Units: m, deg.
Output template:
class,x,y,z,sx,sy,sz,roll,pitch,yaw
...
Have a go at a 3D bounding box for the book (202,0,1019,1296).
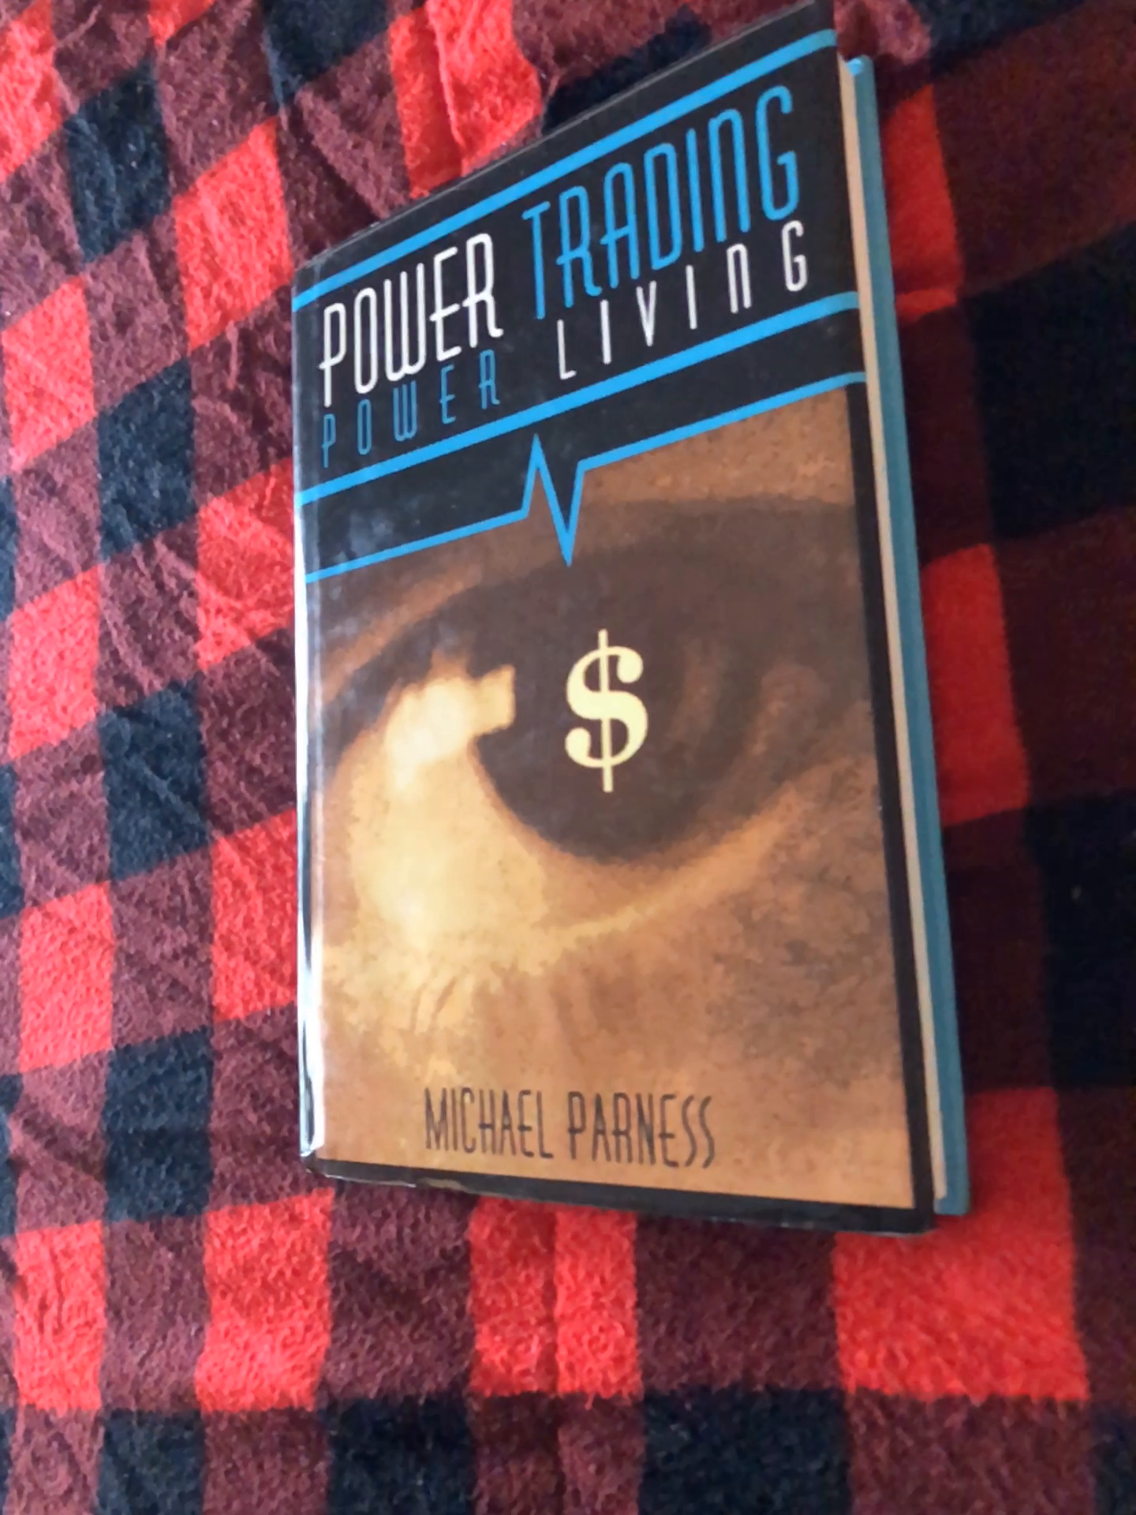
class,x,y,z,sx,sy,sz,roll,pitch,yaw
book,-0.006,-0.024,0.274,0.171,0.040,0.240,-9,81,35
